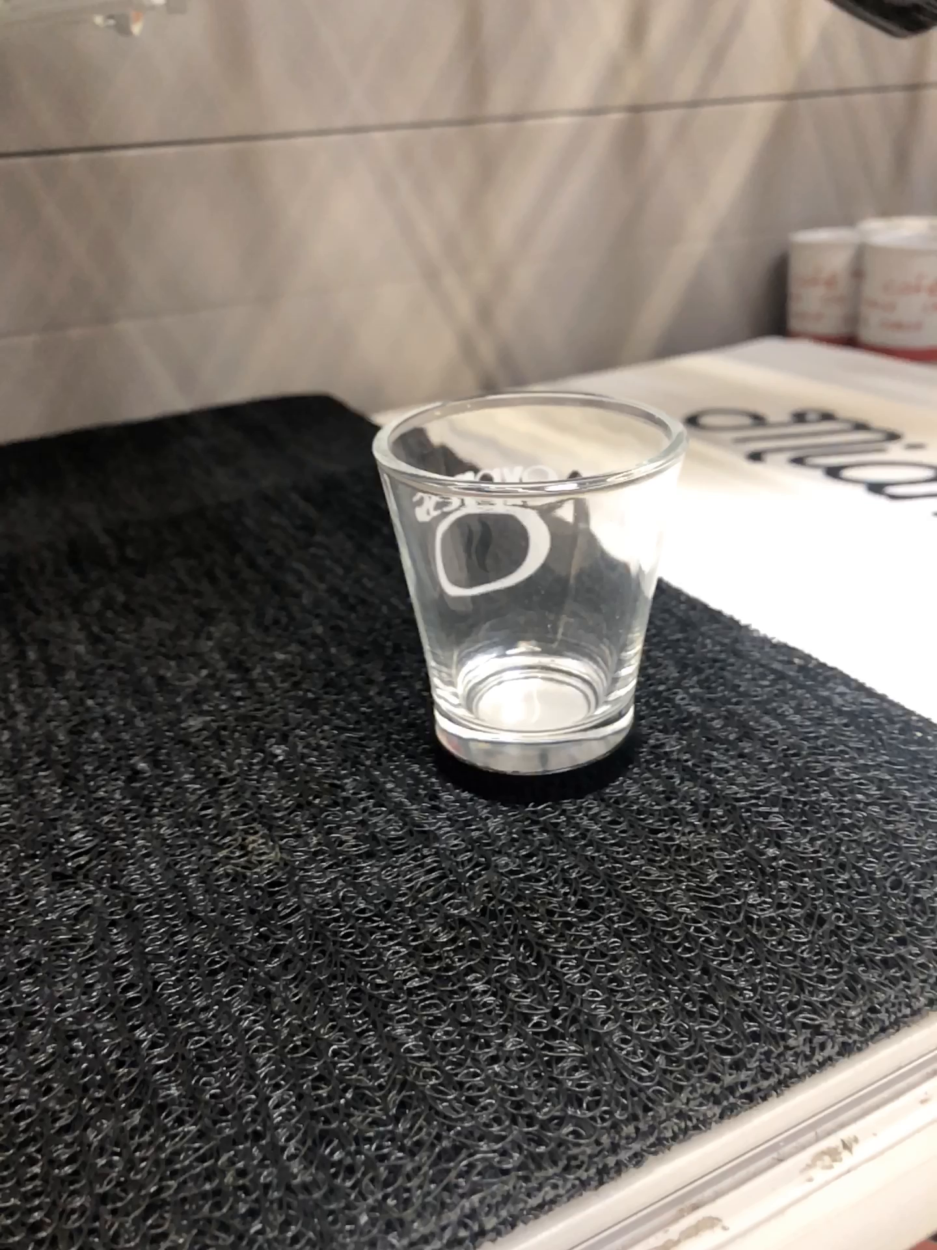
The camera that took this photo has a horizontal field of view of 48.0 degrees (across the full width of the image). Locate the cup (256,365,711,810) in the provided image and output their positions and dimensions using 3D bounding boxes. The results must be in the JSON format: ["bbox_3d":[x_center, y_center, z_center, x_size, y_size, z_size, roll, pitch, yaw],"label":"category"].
[{"bbox_3d":[0.012,-0.013,0.221,0.073,0.059,0.087,1,26,15],"label":"cup"}]
